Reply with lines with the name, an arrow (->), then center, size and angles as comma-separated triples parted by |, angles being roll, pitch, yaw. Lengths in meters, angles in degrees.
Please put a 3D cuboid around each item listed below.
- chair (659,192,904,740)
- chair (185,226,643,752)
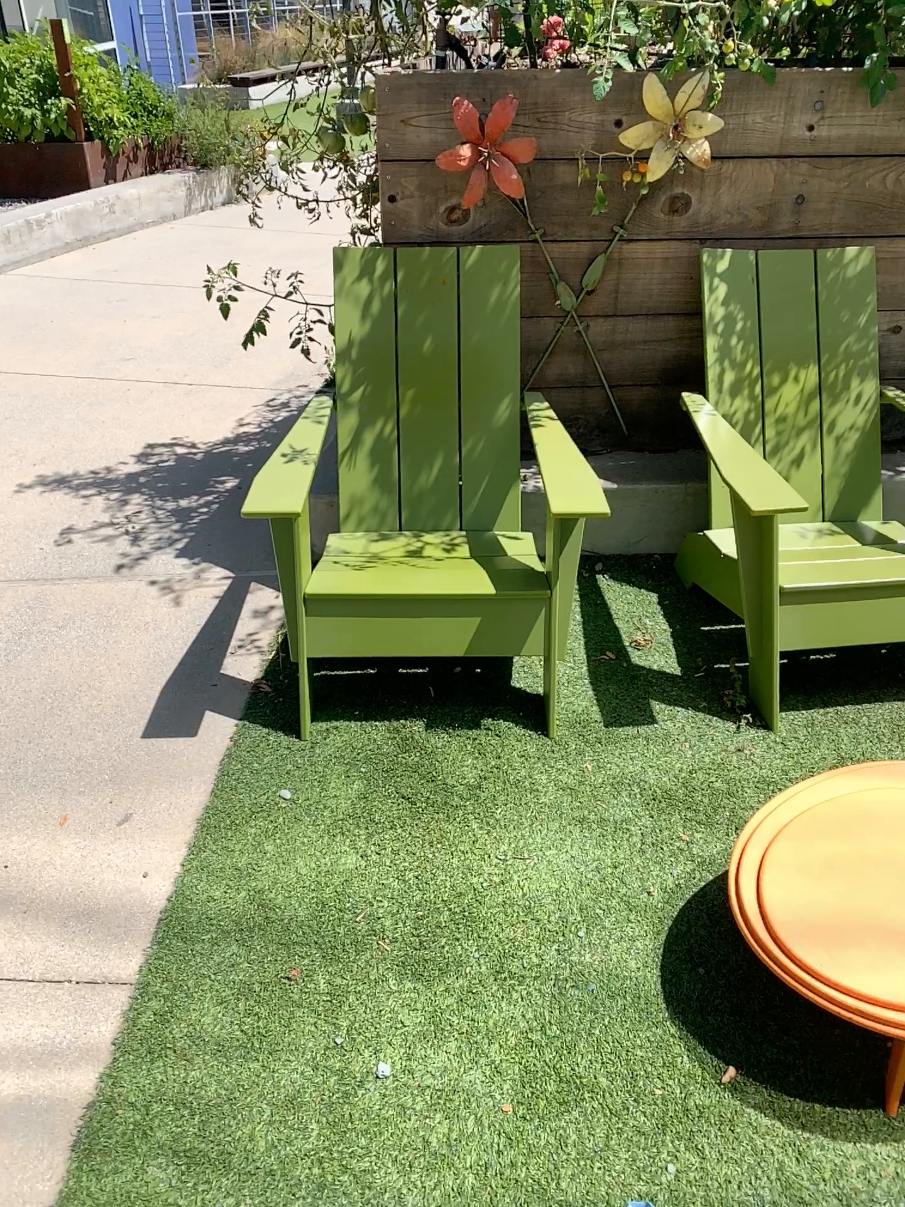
chair -> 0.914, -0.352, 2.147 | 0.680, 0.986, 0.894 | -3, 18, 2
chair -> -0.062, -0.303, 1.968 | 0.680, 0.835, 0.905 | -1, 28, -1
